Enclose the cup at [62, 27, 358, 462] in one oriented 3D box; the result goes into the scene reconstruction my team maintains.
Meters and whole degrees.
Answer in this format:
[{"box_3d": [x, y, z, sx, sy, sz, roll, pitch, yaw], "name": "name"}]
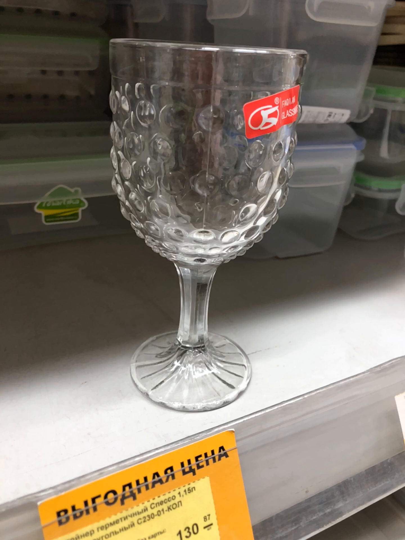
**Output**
[{"box_3d": [-0.006, -0.017, 0.207, 0.081, 0.160, 0.086, 3, 25, -1], "name": "cup"}]
